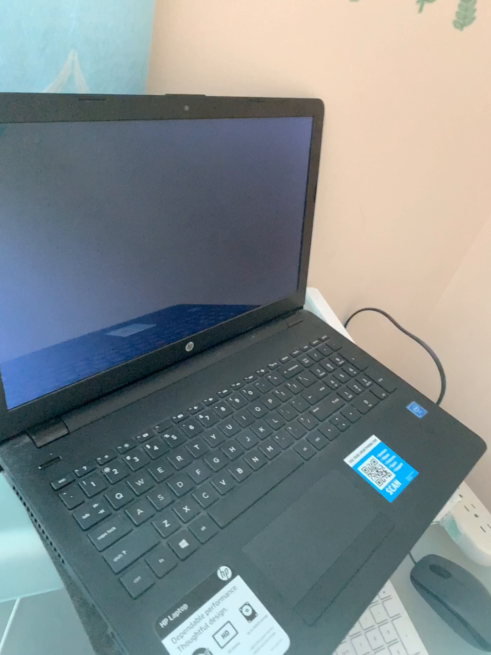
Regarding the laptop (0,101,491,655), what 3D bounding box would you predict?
[{"bbox_3d":[0.034,0.000,0.378,0.307,0.222,0.365,38,40,27],"label":"laptop"}]
